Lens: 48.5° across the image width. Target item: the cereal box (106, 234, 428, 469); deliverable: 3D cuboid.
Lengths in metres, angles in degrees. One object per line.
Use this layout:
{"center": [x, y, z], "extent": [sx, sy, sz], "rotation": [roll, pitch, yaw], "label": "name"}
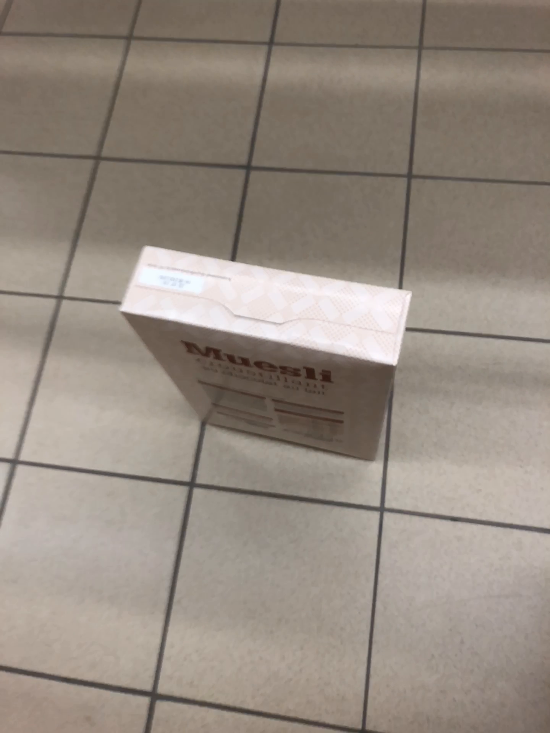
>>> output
{"center": [0.005, 0.006, 0.518], "extent": [0.200, 0.270, 0.060], "rotation": [11, 69, 10], "label": "cereal box"}
